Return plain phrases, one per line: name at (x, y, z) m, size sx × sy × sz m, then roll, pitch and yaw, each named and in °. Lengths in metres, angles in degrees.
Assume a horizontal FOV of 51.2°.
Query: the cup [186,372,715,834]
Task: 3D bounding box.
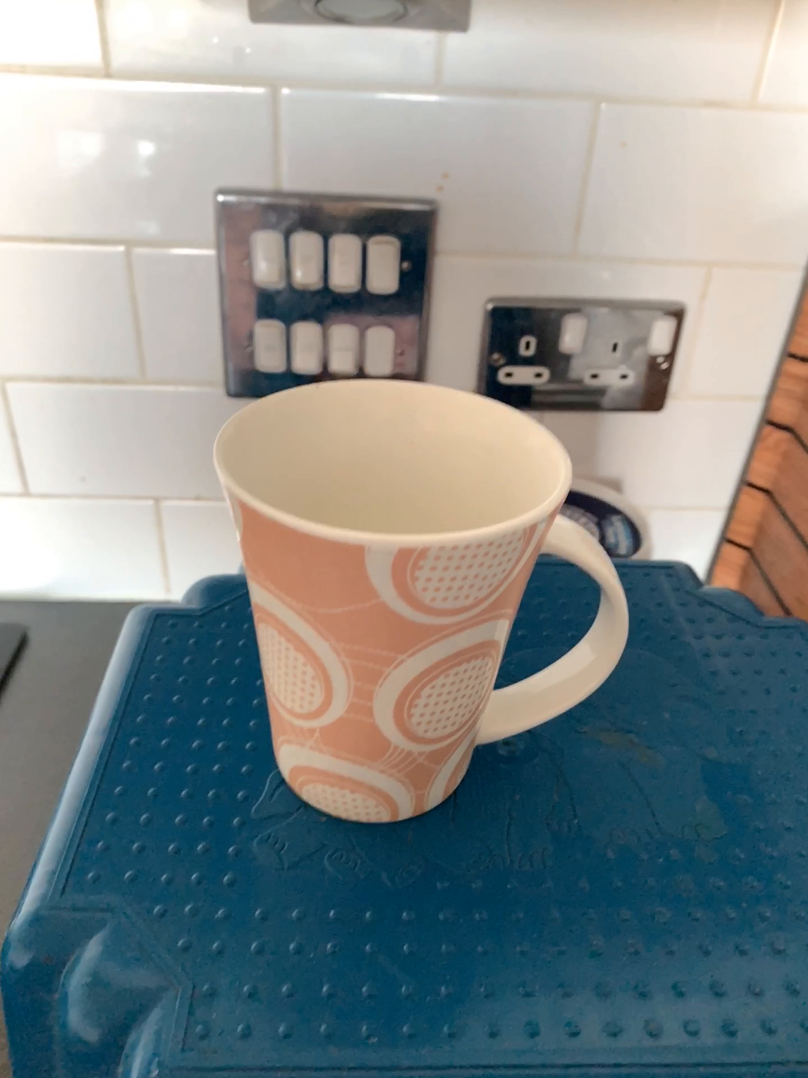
cup at (0.007, 0.018, 0.244) m, size 0.116 × 0.105 × 0.078 m, roll 1°, pitch 33°, yaw -4°
